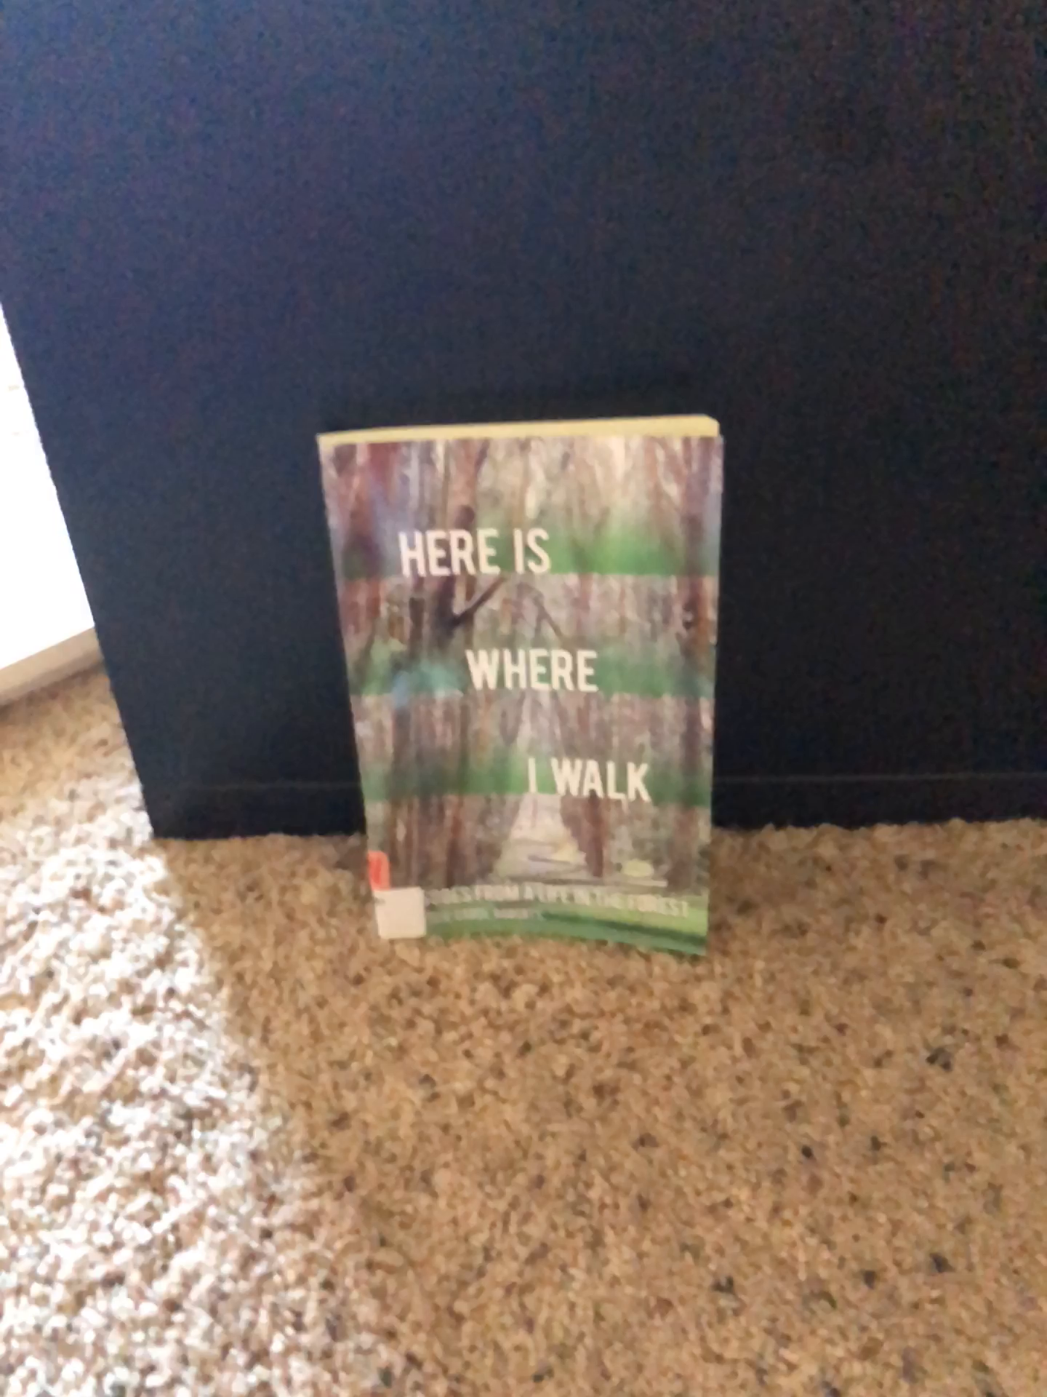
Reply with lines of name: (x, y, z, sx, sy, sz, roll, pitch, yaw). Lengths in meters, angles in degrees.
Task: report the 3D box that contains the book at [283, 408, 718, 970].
book: (-0.004, 0.002, 0.449, 0.146, 0.212, 0.037, -3, 23, 0)
